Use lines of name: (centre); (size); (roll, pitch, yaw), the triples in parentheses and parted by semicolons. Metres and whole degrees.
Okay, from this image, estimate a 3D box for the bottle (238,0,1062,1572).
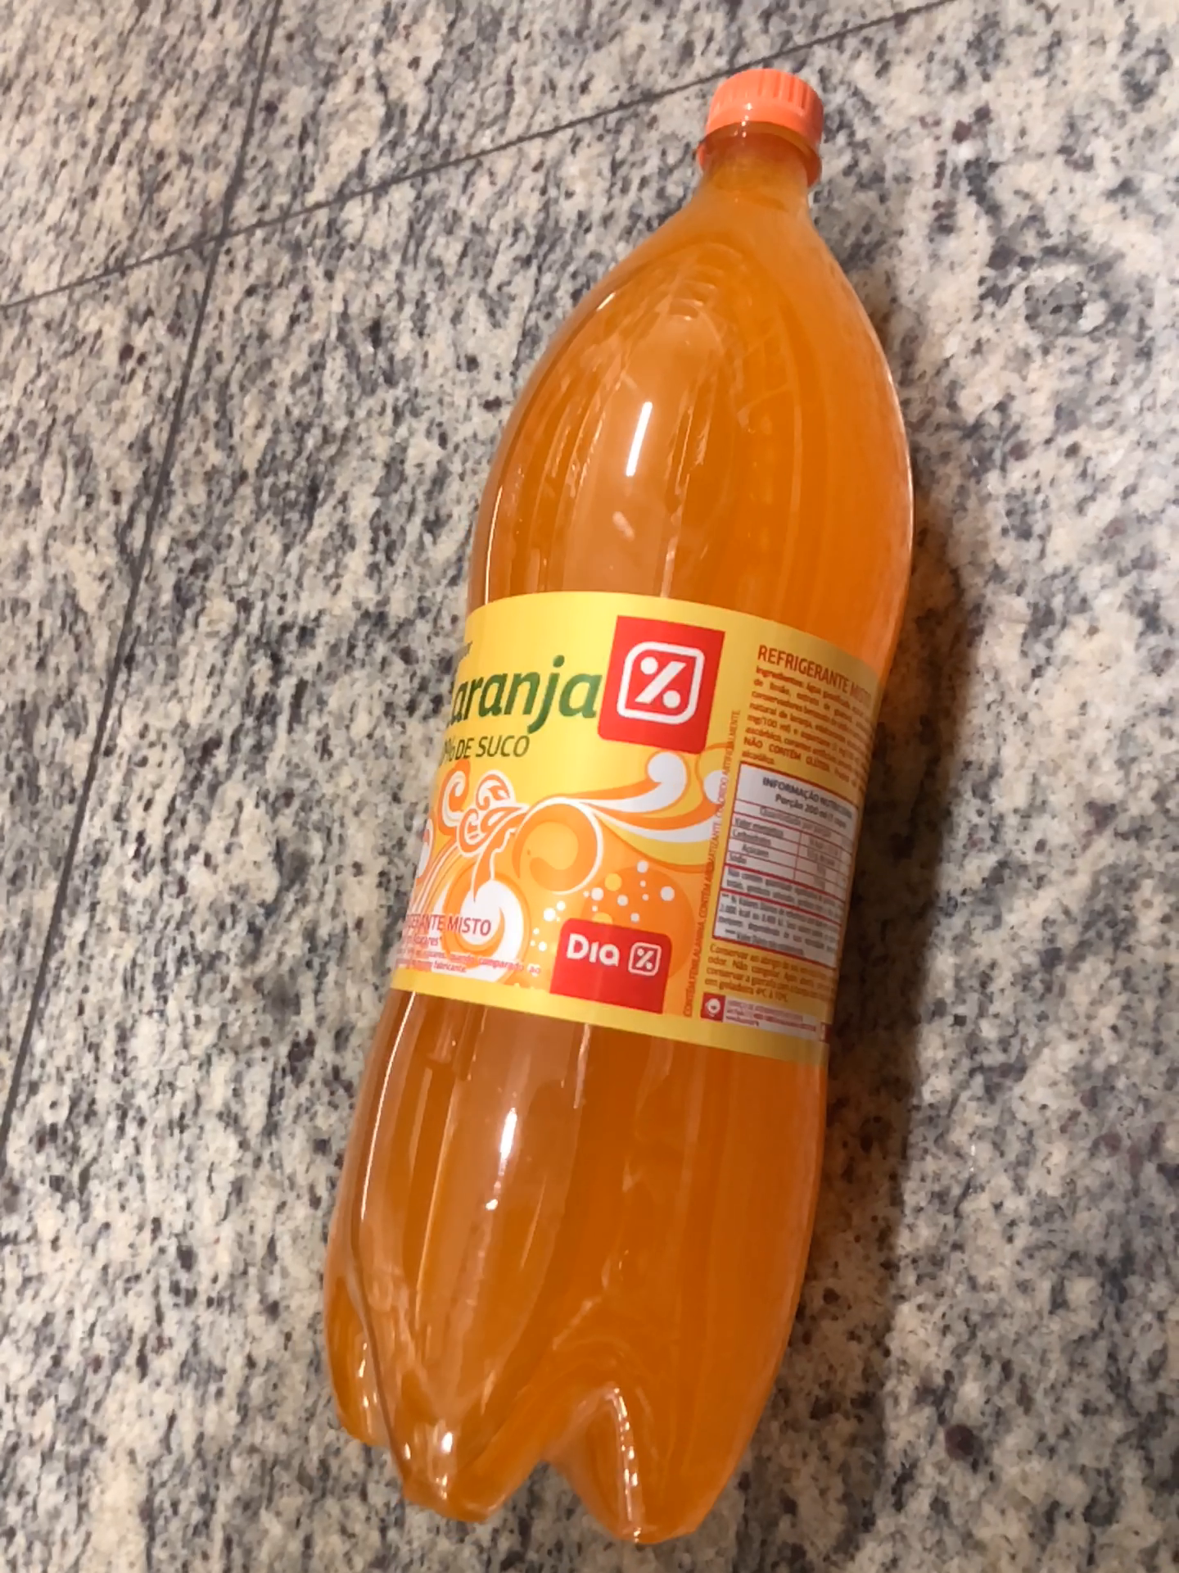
bottle: (0.024, -0.019, 0.308); (0.120, 0.070, 0.350); (2, 75, 35)
